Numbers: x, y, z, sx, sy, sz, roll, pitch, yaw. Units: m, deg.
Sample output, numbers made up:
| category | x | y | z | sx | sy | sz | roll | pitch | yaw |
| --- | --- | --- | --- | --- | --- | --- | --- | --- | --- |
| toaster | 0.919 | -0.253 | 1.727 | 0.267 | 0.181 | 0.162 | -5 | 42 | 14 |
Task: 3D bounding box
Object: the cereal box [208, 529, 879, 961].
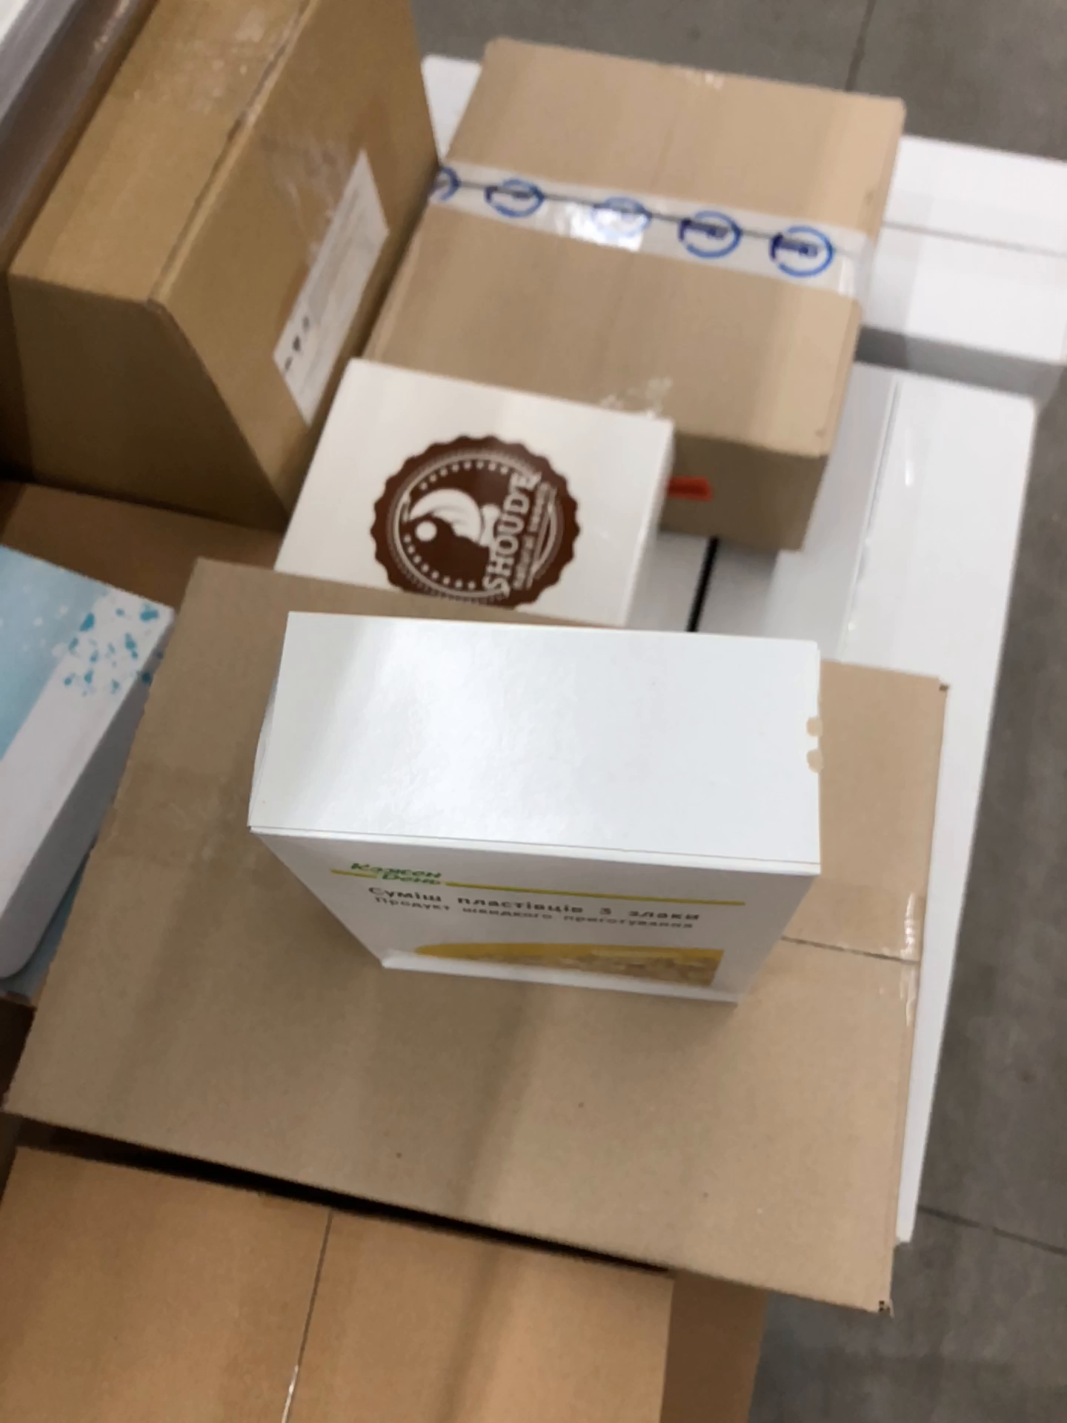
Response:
| category | x | y | z | sx | sy | sz | roll | pitch | yaw |
| --- | --- | --- | --- | --- | --- | --- | --- | --- | --- |
| cereal box | 0.009 | 0.025 | 0.409 | 0.170 | 0.209 | 0.070 | 4 | 68 | 5 |
